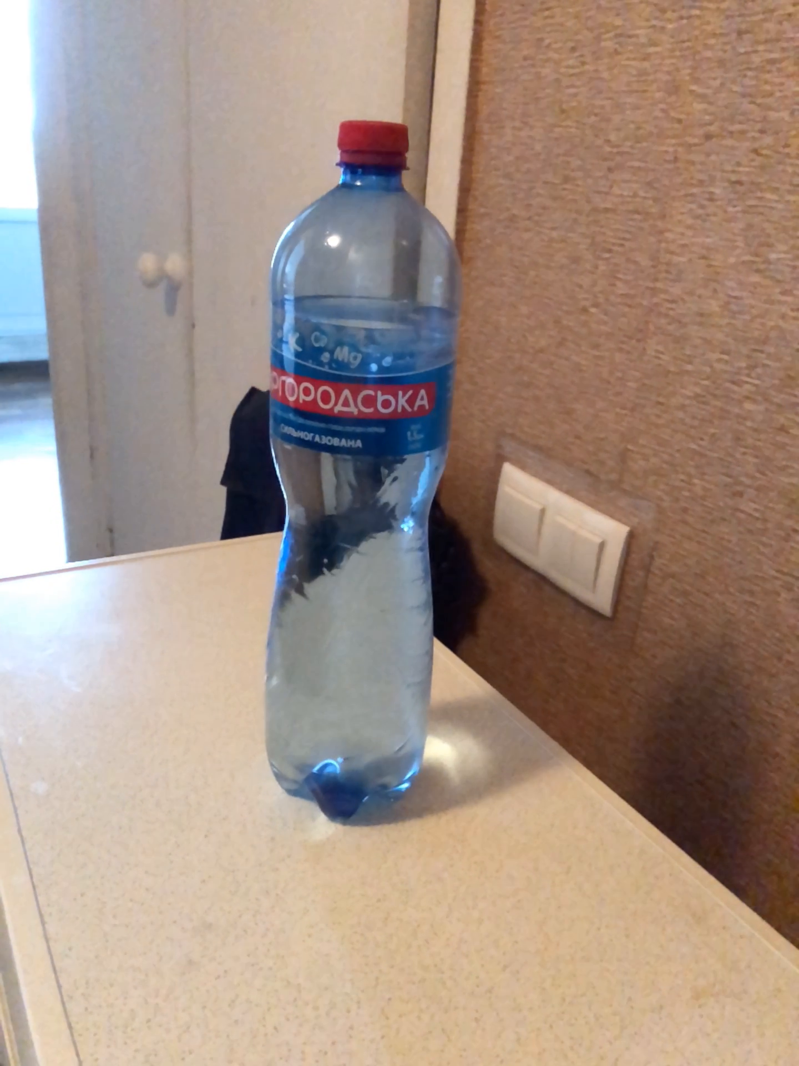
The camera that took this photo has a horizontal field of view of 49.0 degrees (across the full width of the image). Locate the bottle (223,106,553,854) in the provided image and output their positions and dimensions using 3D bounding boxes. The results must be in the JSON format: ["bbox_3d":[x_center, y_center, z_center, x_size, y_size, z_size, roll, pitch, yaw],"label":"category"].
[{"bbox_3d":[-0.012,-0.022,0.421,0.100,0.318,0.100,4,22,-2],"label":"bottle"}]
